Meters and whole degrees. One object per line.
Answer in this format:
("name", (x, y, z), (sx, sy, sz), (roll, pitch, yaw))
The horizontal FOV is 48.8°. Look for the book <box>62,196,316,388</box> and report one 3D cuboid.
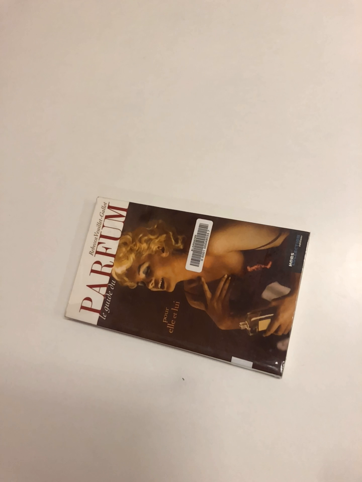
("book", (0.003, 0.038, 0.367), (0.210, 0.020, 0.133), (10, 81, 16))
